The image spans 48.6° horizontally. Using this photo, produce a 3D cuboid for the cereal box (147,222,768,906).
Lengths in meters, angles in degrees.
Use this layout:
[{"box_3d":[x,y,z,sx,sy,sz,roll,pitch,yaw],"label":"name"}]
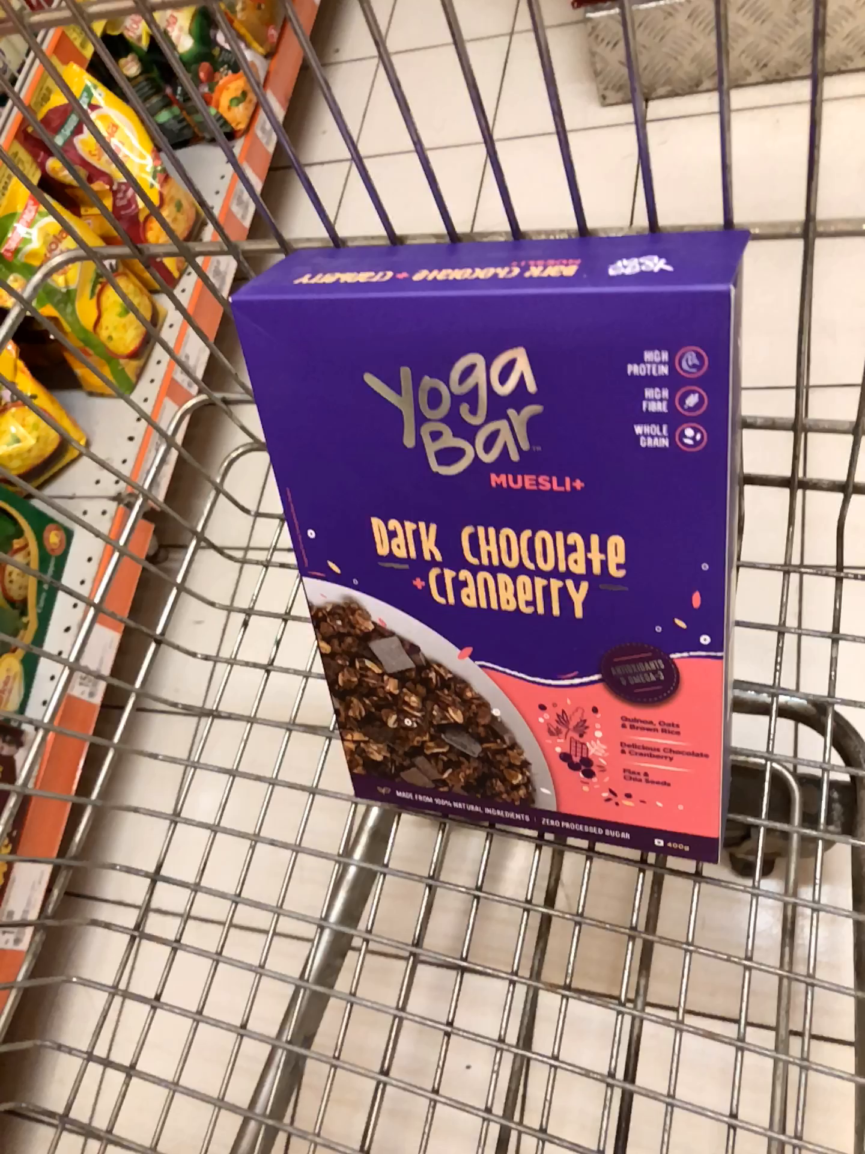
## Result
[{"box_3d":[0.019,0.001,0.351,0.180,0.229,0.060,5,34,22],"label":"cereal box"}]
